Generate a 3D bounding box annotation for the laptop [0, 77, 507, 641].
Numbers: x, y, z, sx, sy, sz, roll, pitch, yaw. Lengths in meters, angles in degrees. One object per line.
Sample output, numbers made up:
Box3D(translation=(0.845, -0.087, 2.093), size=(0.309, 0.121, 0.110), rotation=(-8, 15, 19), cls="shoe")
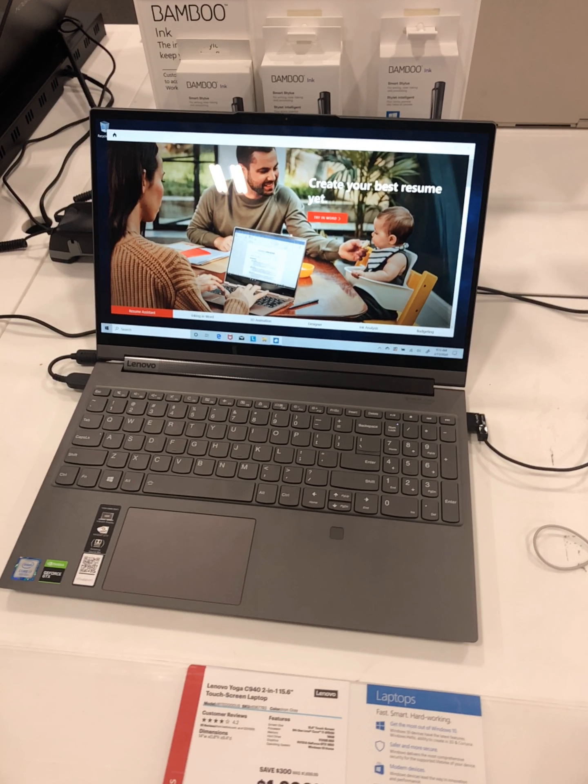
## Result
Box3D(translation=(-0.033, -0.049, 0.516), size=(0.336, 0.169, 0.375), rotation=(4, 56, 6), cls="laptop")
